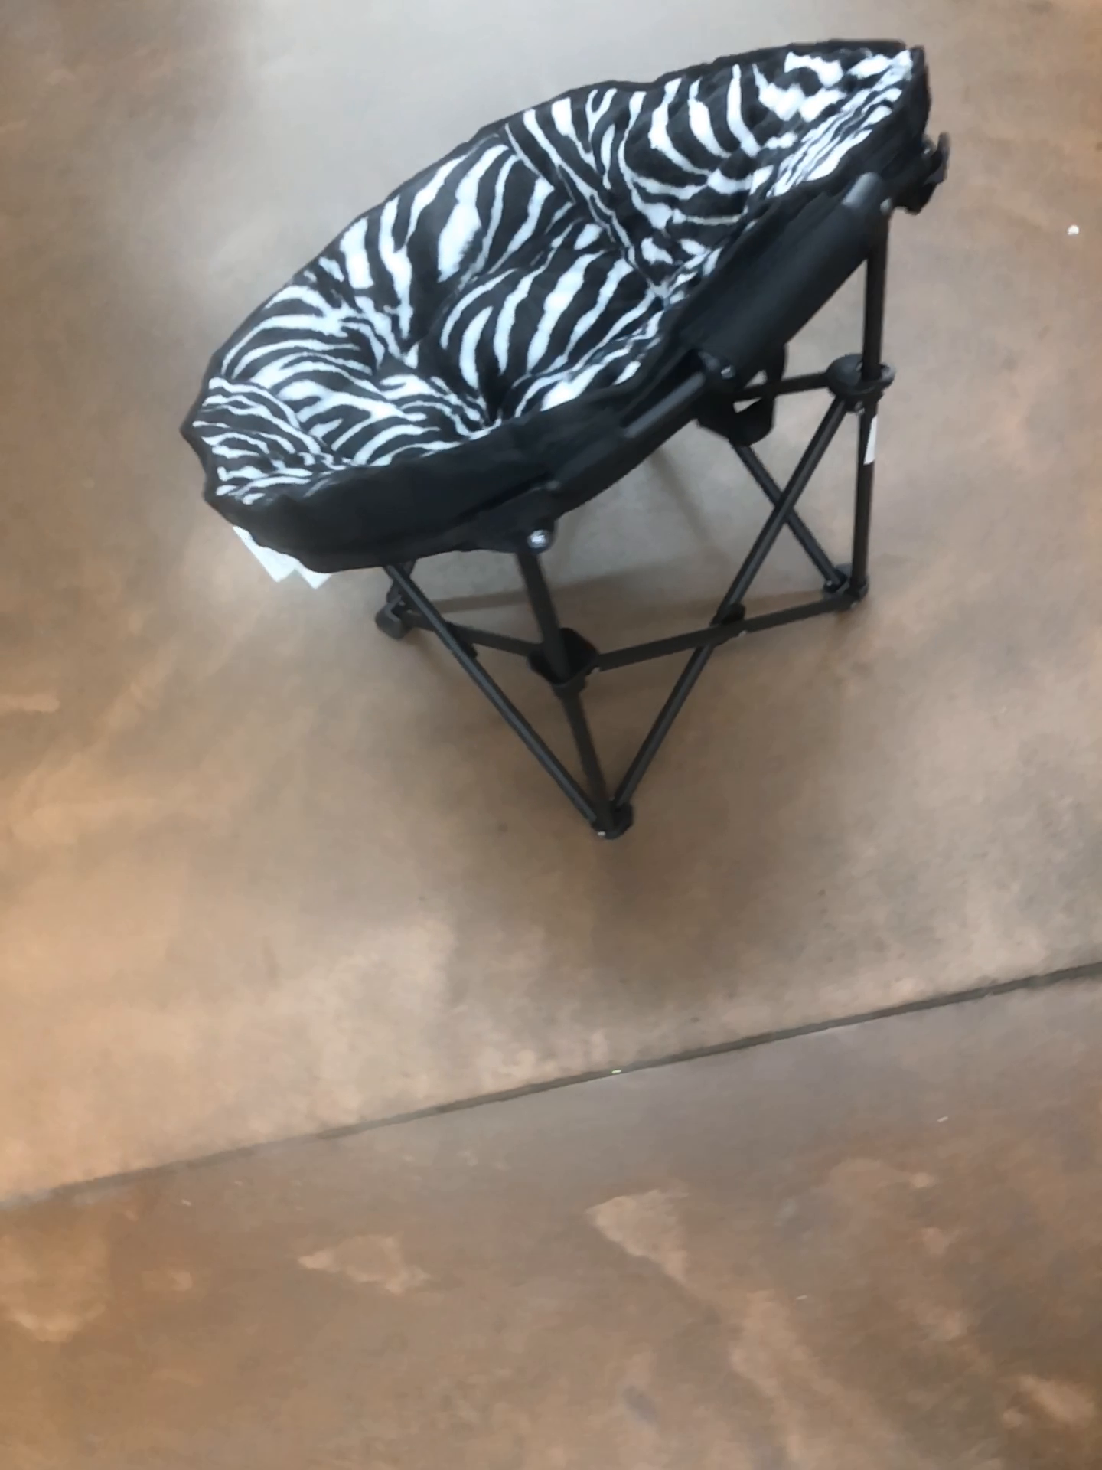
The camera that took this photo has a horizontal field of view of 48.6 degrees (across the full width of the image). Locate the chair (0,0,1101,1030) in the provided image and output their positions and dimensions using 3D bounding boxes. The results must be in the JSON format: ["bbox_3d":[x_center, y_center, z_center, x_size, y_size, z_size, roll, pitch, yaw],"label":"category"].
[{"bbox_3d":[-0.020,-0.250,1.037,0.601,0.599,0.610,39,76,25],"label":"chair"}]
